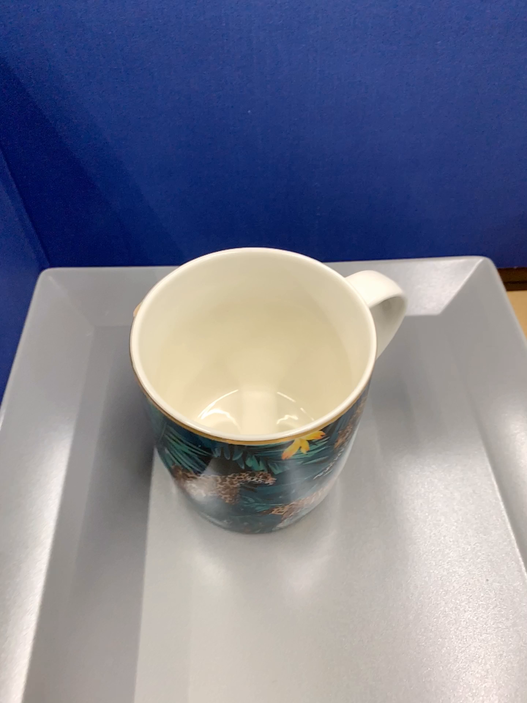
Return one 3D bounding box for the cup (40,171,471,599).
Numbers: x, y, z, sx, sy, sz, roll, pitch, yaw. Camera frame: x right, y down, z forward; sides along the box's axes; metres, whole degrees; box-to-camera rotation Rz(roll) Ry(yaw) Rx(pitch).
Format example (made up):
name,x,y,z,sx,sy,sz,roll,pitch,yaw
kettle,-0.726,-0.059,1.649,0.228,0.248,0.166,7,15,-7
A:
name,x,y,z,sx,sy,sz,roll,pitch,yaw
cup,0.001,0.008,0.230,0.093,0.091,0.126,35,58,28
